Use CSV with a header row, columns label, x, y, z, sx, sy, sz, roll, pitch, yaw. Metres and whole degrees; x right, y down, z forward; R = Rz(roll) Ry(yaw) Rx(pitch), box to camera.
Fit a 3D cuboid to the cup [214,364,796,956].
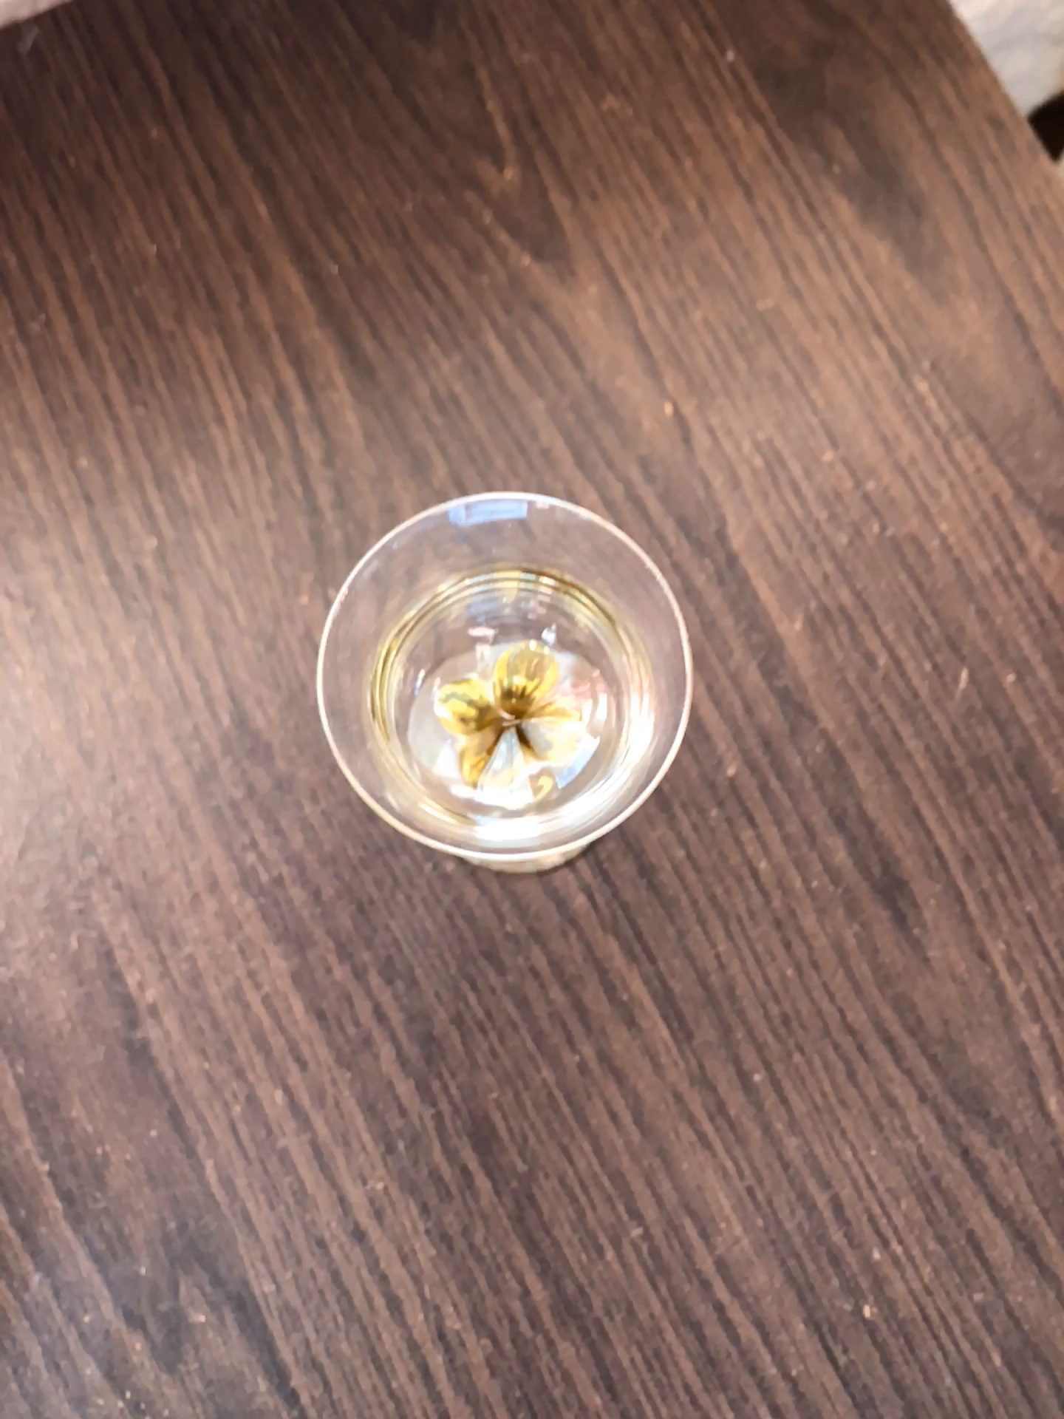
label,x,y,z,sx,sy,sz,roll,pitch,yaw
cup,-0.003,0.001,0.194,0.051,0.093,0.058,-27,79,-4
